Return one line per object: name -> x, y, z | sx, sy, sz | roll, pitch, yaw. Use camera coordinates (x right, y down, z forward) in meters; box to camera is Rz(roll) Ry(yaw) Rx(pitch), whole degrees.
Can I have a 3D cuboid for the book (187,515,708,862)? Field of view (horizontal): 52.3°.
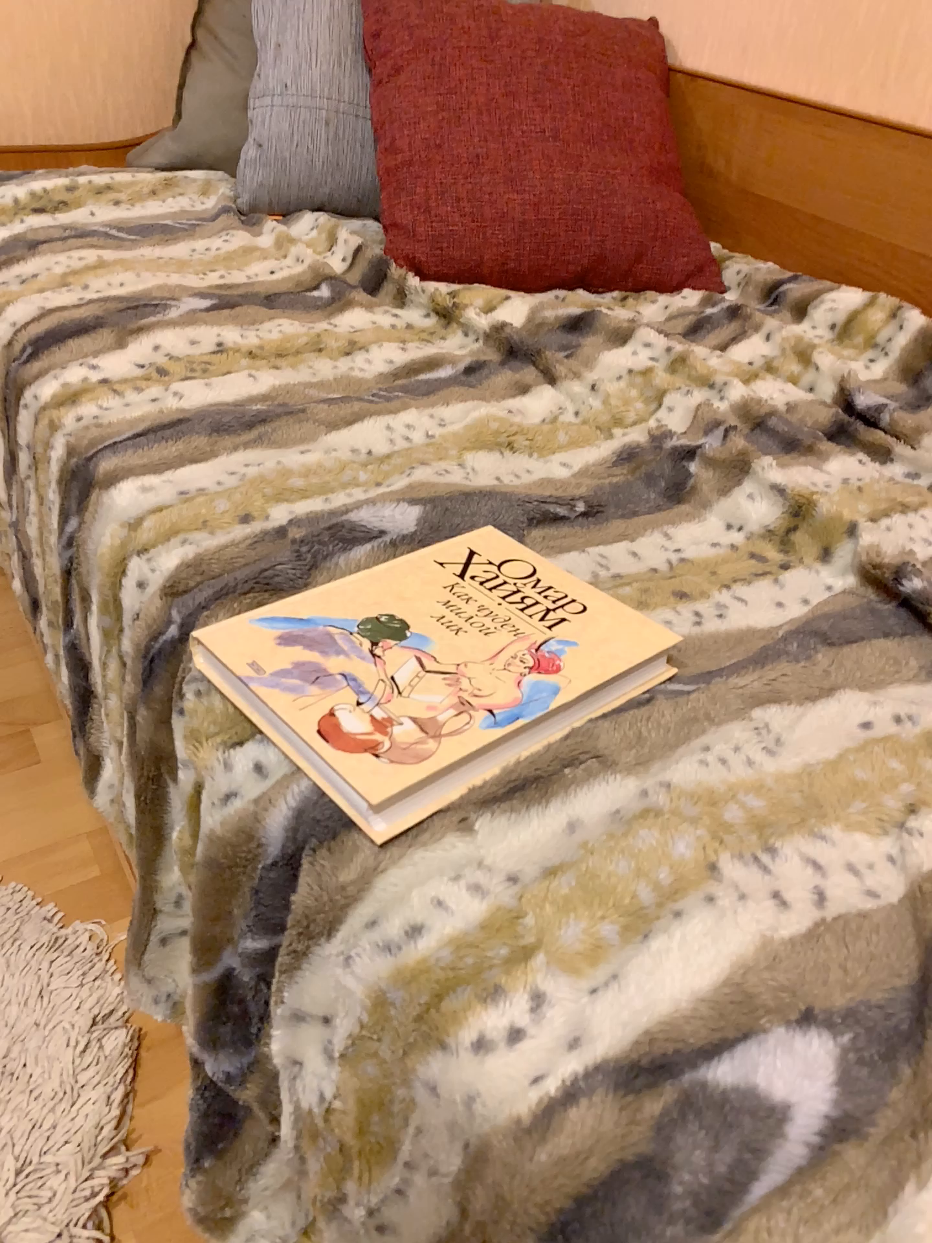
book -> -0.009, 0.017, 0.514 | 0.221, 0.030, 0.171 | -23, 41, -33
